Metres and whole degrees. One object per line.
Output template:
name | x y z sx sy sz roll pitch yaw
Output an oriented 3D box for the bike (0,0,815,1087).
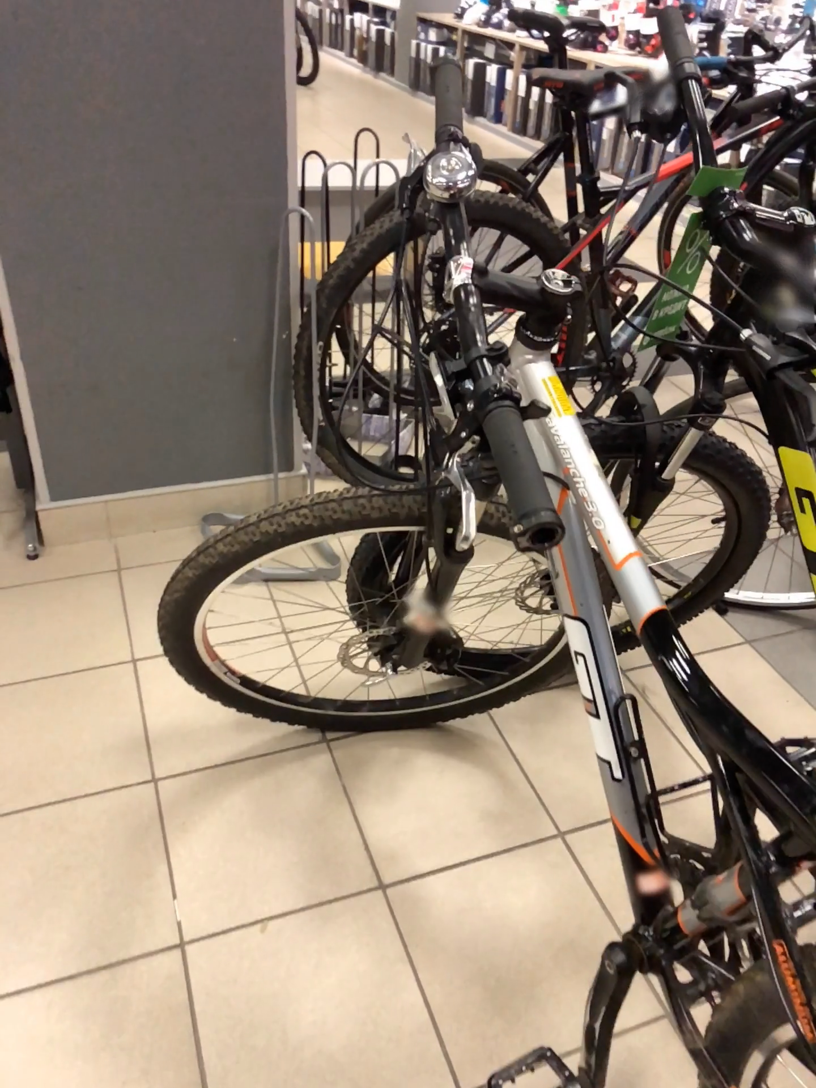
bike | 0.177 0.238 0.697 0.626 1.012 1.430 -23 44 -34
